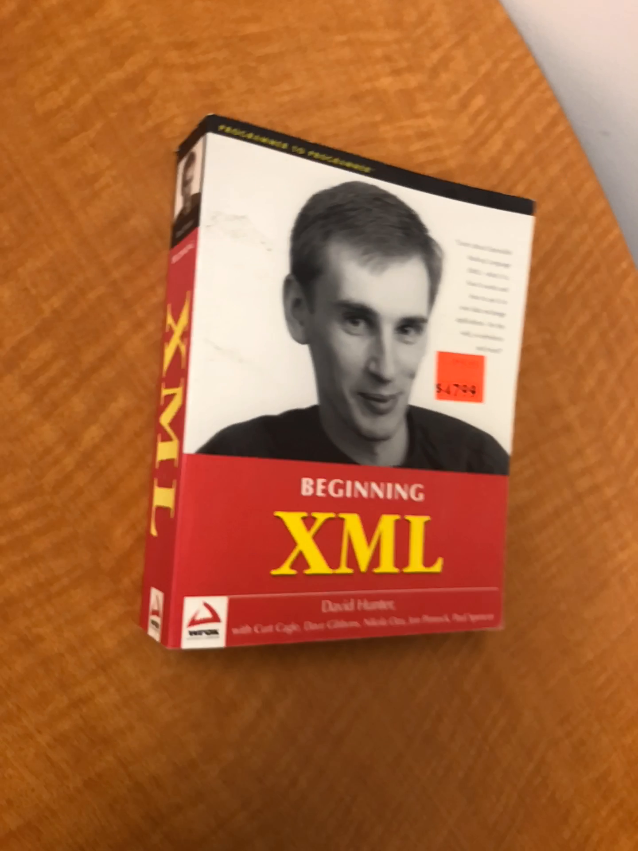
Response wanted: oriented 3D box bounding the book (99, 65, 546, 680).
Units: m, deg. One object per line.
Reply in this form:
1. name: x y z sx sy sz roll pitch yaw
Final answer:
1. book: 0.012 -0.015 0.392 0.221 0.070 0.270 7 84 -27
